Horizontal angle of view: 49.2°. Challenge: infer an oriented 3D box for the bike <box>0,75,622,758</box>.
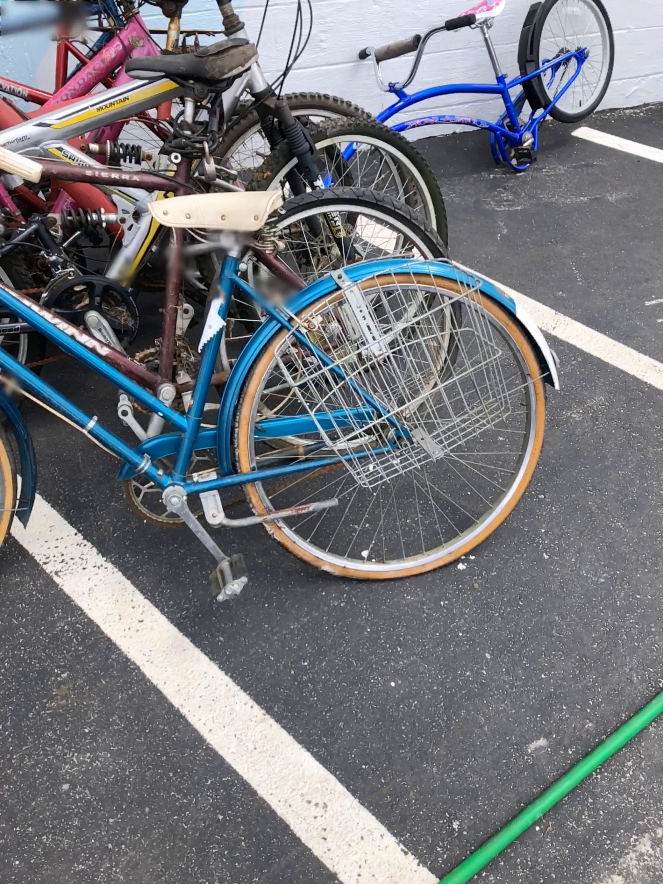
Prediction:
[{"bbox_3d":[-0.359,-0.098,1.205,1.482,0.760,0.477,-10,42,-14],"label":"bike"}]
